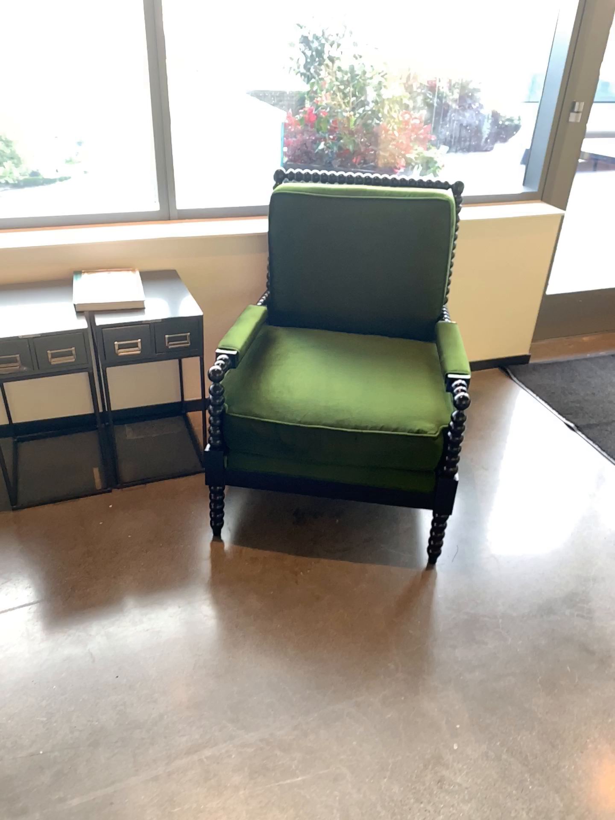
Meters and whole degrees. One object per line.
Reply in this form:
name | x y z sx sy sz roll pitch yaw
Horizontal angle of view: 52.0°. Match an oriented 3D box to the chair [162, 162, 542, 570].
chair | 0.140 -0.212 2.078 0.870 0.924 0.946 6 32 6
